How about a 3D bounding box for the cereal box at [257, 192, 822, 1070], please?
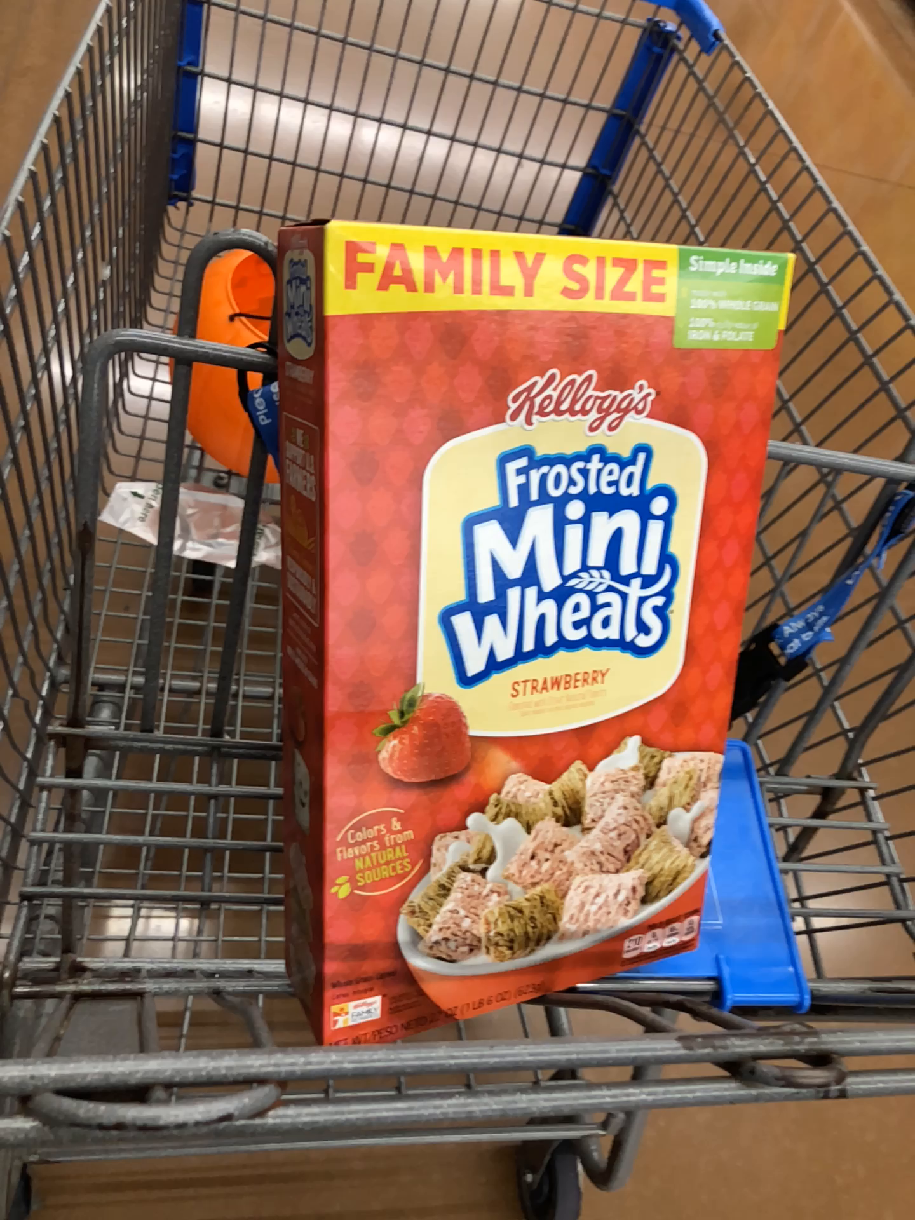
[{"bbox_3d":[0.030,0.007,0.421,0.200,0.320,0.070,-7,19,-25],"label":"cereal box"}]
